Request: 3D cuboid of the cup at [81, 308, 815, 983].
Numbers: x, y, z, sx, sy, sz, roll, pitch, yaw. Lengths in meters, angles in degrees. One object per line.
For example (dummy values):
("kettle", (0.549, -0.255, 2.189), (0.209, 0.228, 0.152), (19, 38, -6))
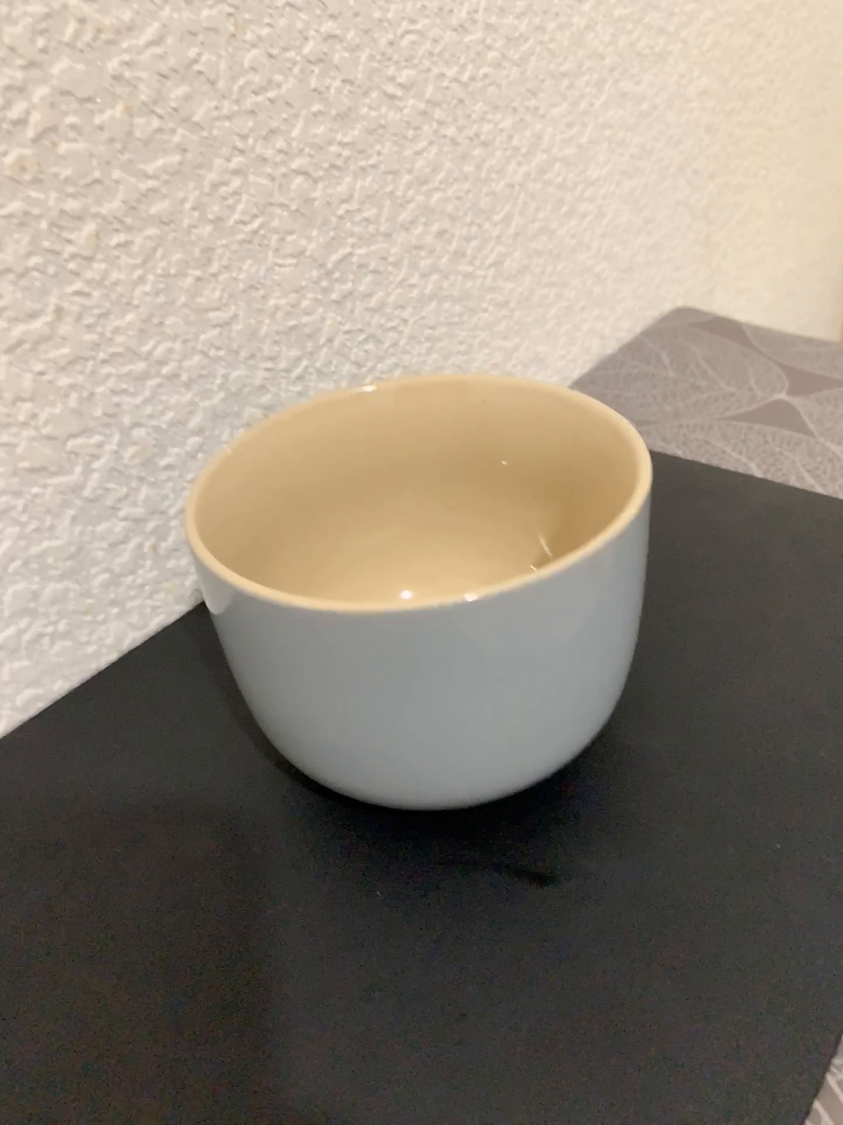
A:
("cup", (0.010, 0.003, 0.227), (0.133, 0.079, 0.111), (-33, 42, -32))
